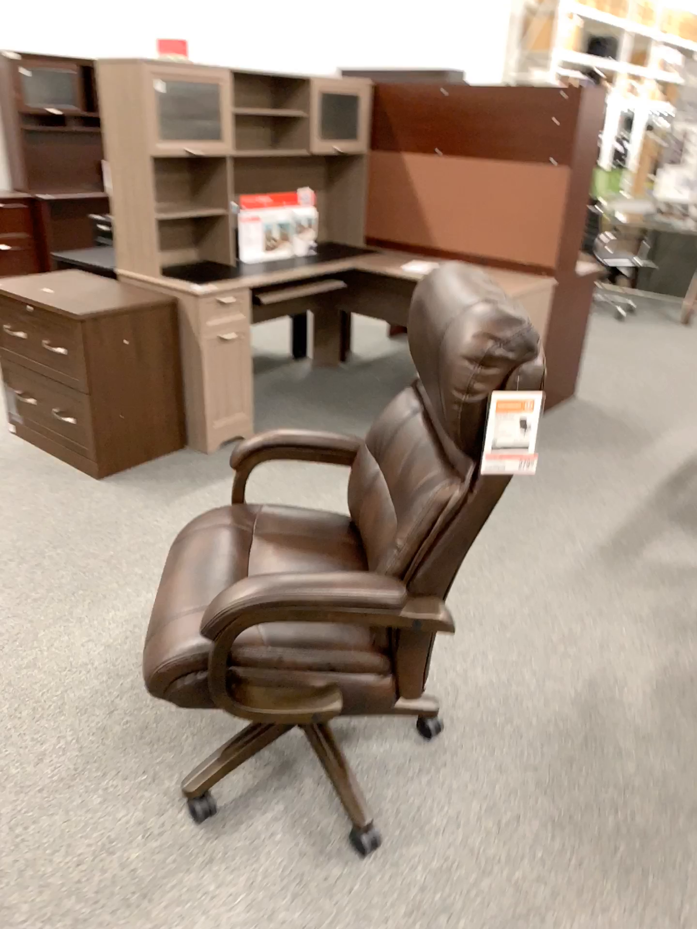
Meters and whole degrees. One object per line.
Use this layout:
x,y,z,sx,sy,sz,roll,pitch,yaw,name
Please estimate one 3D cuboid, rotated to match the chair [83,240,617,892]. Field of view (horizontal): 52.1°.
-0.039,0.163,1.504,0.700,1.094,0.754,0,26,-5,chair
